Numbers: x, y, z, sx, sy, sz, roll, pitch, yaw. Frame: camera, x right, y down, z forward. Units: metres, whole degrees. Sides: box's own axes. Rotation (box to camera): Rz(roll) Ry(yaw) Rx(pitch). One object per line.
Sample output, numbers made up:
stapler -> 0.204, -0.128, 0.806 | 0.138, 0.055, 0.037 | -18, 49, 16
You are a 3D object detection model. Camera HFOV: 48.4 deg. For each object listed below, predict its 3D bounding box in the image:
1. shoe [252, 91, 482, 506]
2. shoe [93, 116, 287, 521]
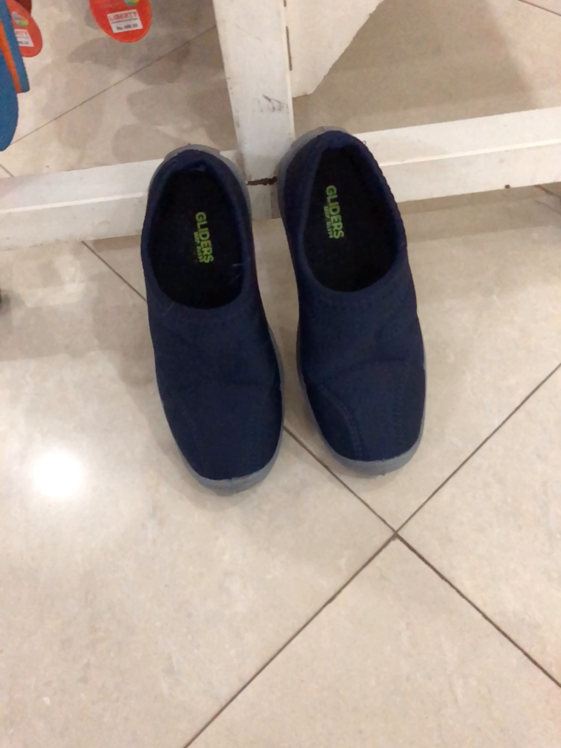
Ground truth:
shoe -> 0.102, -0.091, 0.865 | 0.186, 0.207, 0.489 | -11, 84, 0
shoe -> -0.113, -0.064, 0.827 | 0.160, 0.200, 0.460 | -9, 85, -4
